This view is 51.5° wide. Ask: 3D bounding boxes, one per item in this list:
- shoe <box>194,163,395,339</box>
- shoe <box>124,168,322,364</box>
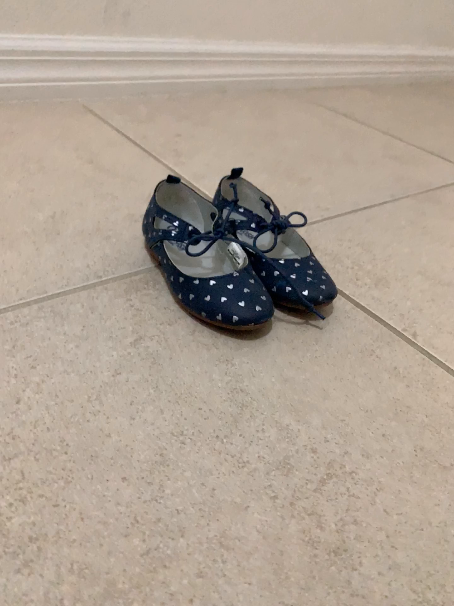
[{"bbox_3d":[0.046,-0.054,0.404,0.071,0.061,0.172,-15,43,-30],"label":"shoe"},{"bbox_3d":[-0.015,-0.040,0.371,0.071,0.061,0.172,-15,43,-30],"label":"shoe"}]
